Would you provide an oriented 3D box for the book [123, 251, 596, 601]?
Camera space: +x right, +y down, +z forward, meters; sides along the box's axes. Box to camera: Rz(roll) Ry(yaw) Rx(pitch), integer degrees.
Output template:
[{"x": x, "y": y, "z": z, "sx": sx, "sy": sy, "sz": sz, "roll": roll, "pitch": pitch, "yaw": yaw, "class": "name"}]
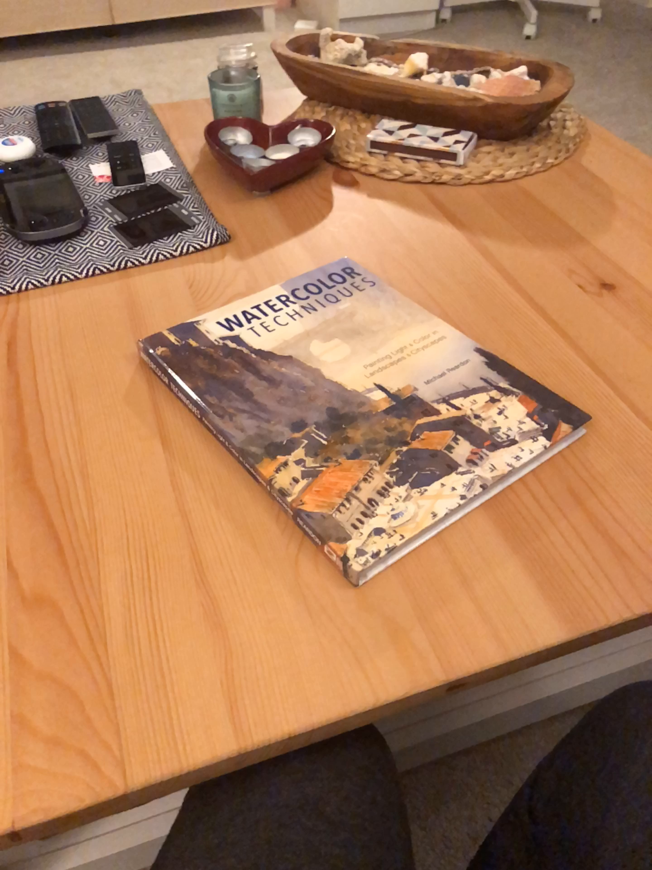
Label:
[{"x": 0.014, "y": -0.036, "z": 0.527, "sx": 0.214, "sy": 0.020, "sz": 0.279, "roll": -29, "pitch": 51, "yaw": -26, "class": "book"}]
